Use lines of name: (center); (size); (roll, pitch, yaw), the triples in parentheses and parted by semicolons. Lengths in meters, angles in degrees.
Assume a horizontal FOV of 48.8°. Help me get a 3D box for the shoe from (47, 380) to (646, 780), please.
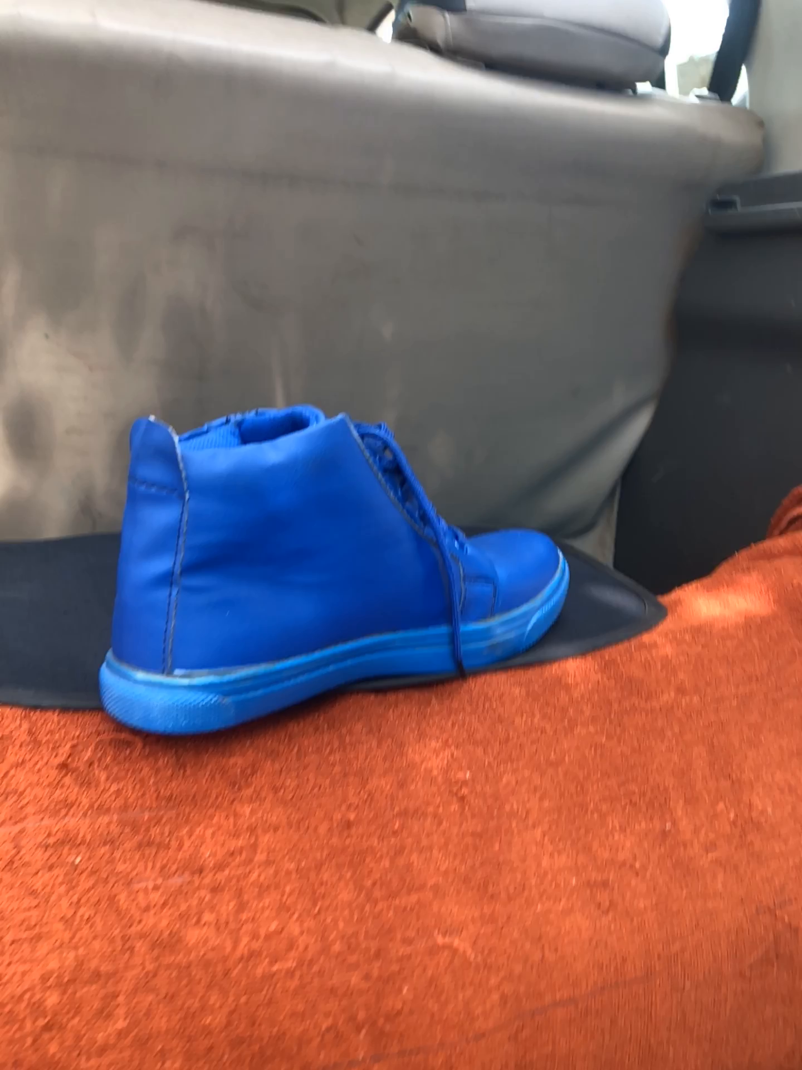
shoe: (-0.014, -0.001, 0.454); (0.291, 0.140, 0.100); (-9, 20, -38)
